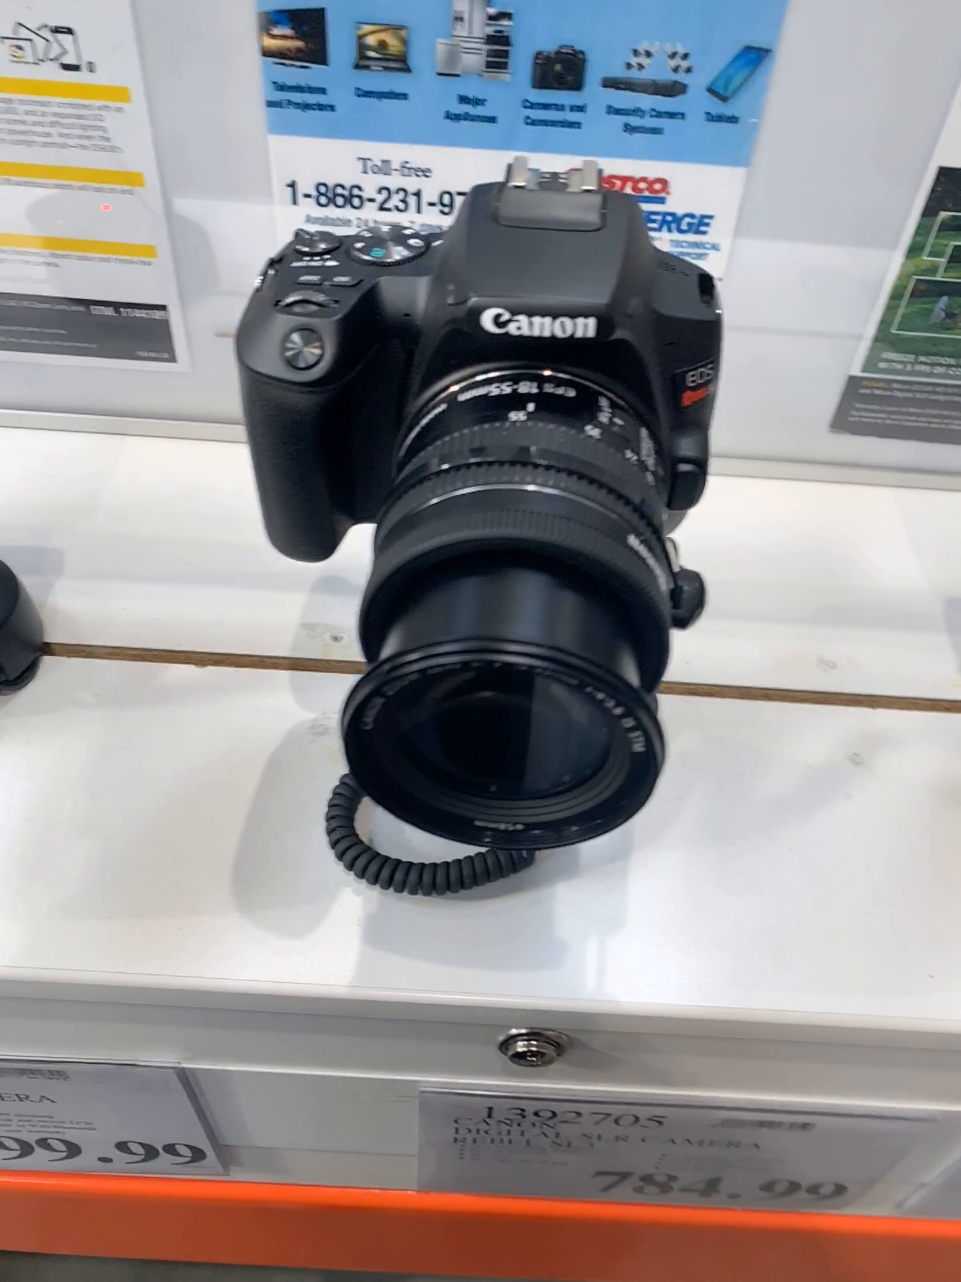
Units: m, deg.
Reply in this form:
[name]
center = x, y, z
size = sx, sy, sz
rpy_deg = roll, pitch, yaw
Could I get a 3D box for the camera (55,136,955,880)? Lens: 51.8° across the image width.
[camera]
center = 0.004, -0.036, 0.209
size = 0.119, 0.079, 0.141
rpy_deg = 3, 45, -1
